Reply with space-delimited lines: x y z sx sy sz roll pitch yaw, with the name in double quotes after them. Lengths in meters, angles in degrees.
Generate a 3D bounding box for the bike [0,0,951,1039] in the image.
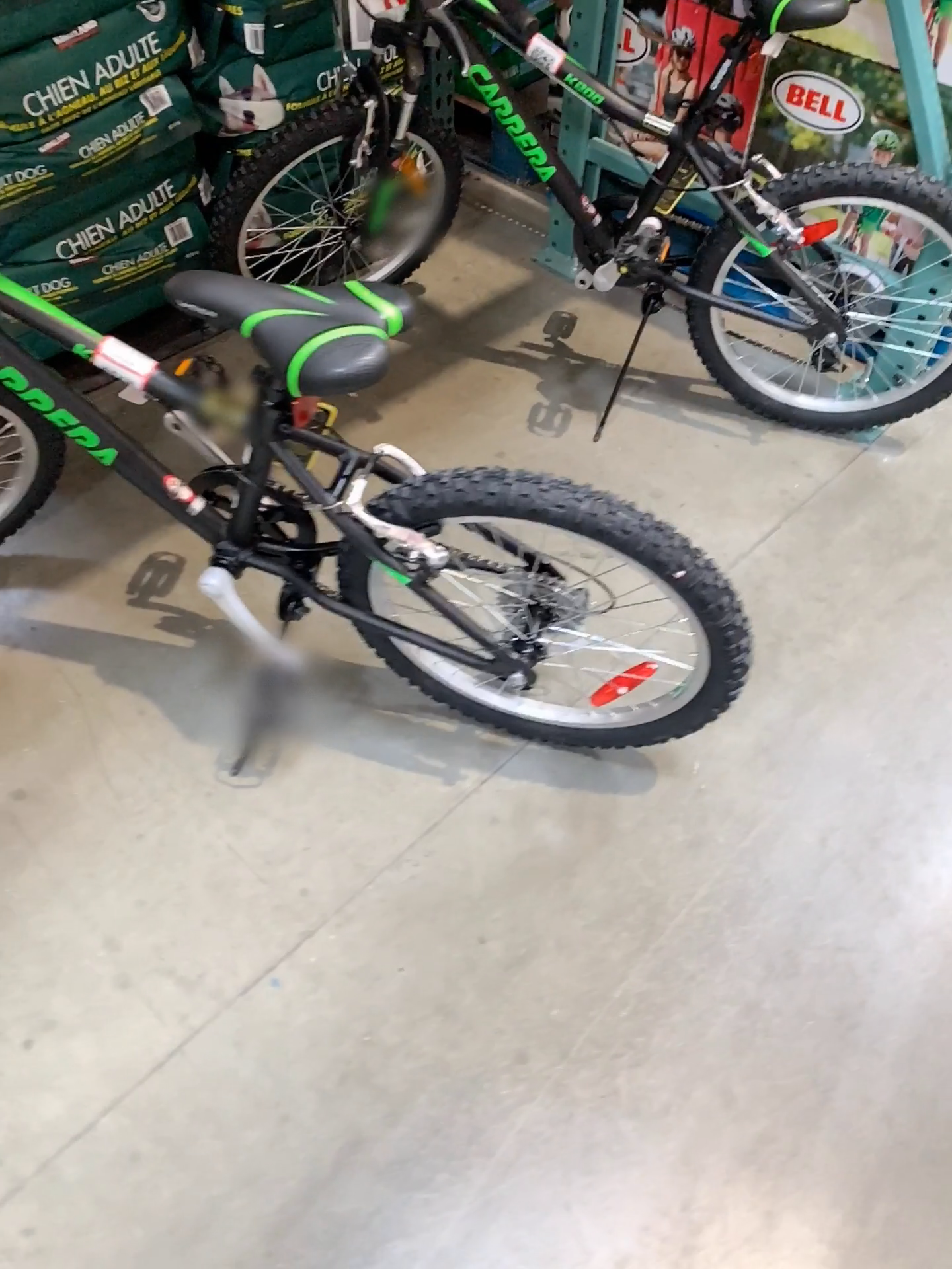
-0.325 -0.143 0.990 1.304 0.855 0.711 7 50 2 "bike"
